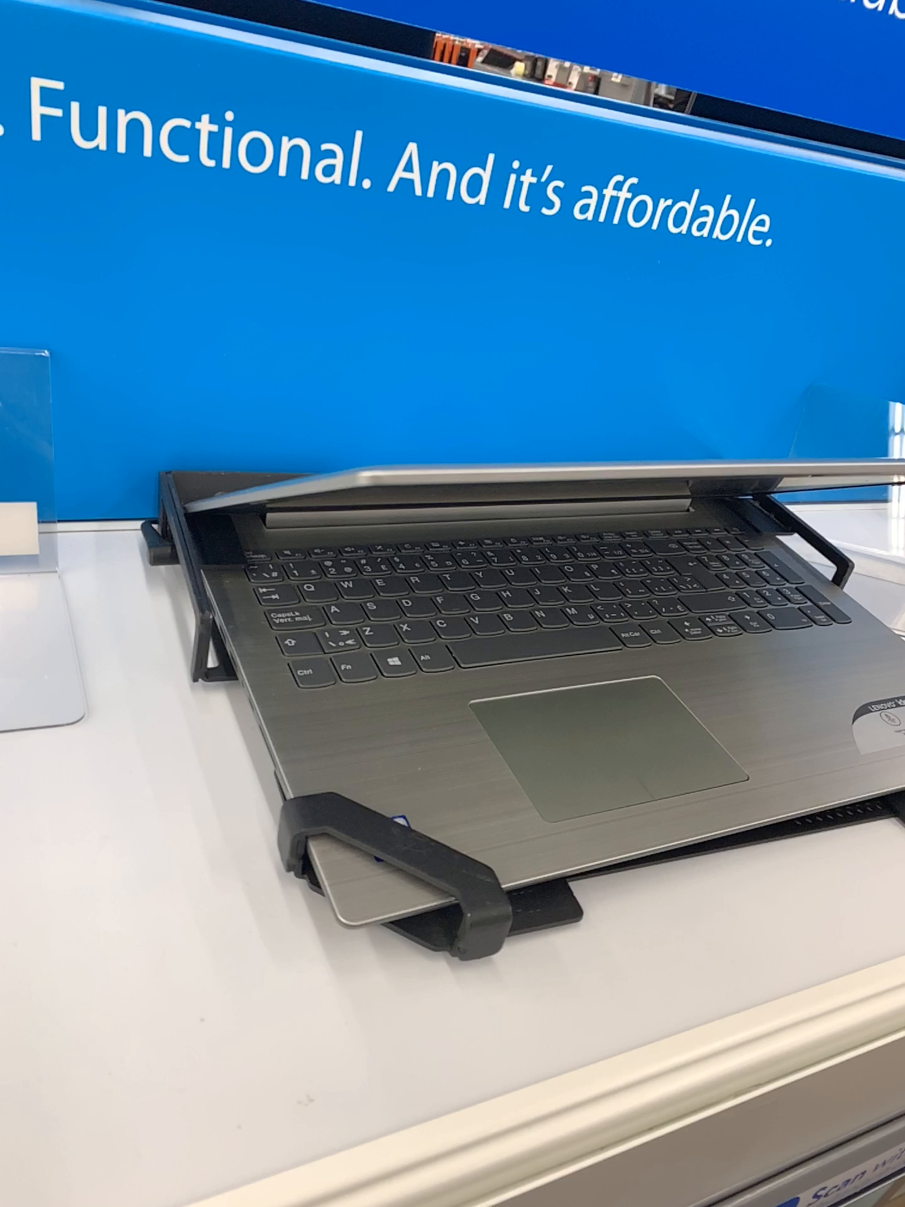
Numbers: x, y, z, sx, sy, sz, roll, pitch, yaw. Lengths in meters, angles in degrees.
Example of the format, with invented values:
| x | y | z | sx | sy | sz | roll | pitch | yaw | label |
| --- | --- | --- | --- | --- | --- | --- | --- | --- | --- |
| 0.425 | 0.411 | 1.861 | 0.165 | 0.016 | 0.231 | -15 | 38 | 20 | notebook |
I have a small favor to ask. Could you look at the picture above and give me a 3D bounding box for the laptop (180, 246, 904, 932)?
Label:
| x | y | z | sx | sy | sz | roll | pitch | yaw | label |
| --- | --- | --- | --- | --- | --- | --- | --- | --- | --- |
| 0.080 | -0.035 | 0.380 | 0.327 | 0.115 | 0.230 | -4 | 36 | -28 | laptop |
